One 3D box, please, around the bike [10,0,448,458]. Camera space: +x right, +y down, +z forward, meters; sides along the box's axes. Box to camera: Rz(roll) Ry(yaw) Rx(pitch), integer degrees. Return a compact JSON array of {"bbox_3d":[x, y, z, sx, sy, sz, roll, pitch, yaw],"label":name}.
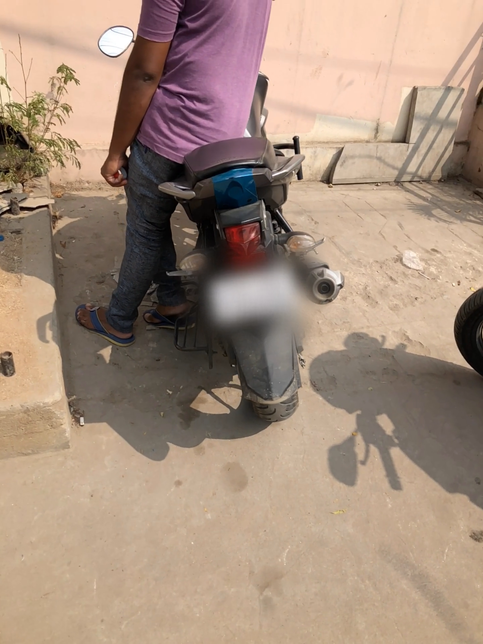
[{"bbox_3d":[-0.253,-0.717,1.965,0.810,1.221,1.834,-3,39,-13],"label":"bike"}]
